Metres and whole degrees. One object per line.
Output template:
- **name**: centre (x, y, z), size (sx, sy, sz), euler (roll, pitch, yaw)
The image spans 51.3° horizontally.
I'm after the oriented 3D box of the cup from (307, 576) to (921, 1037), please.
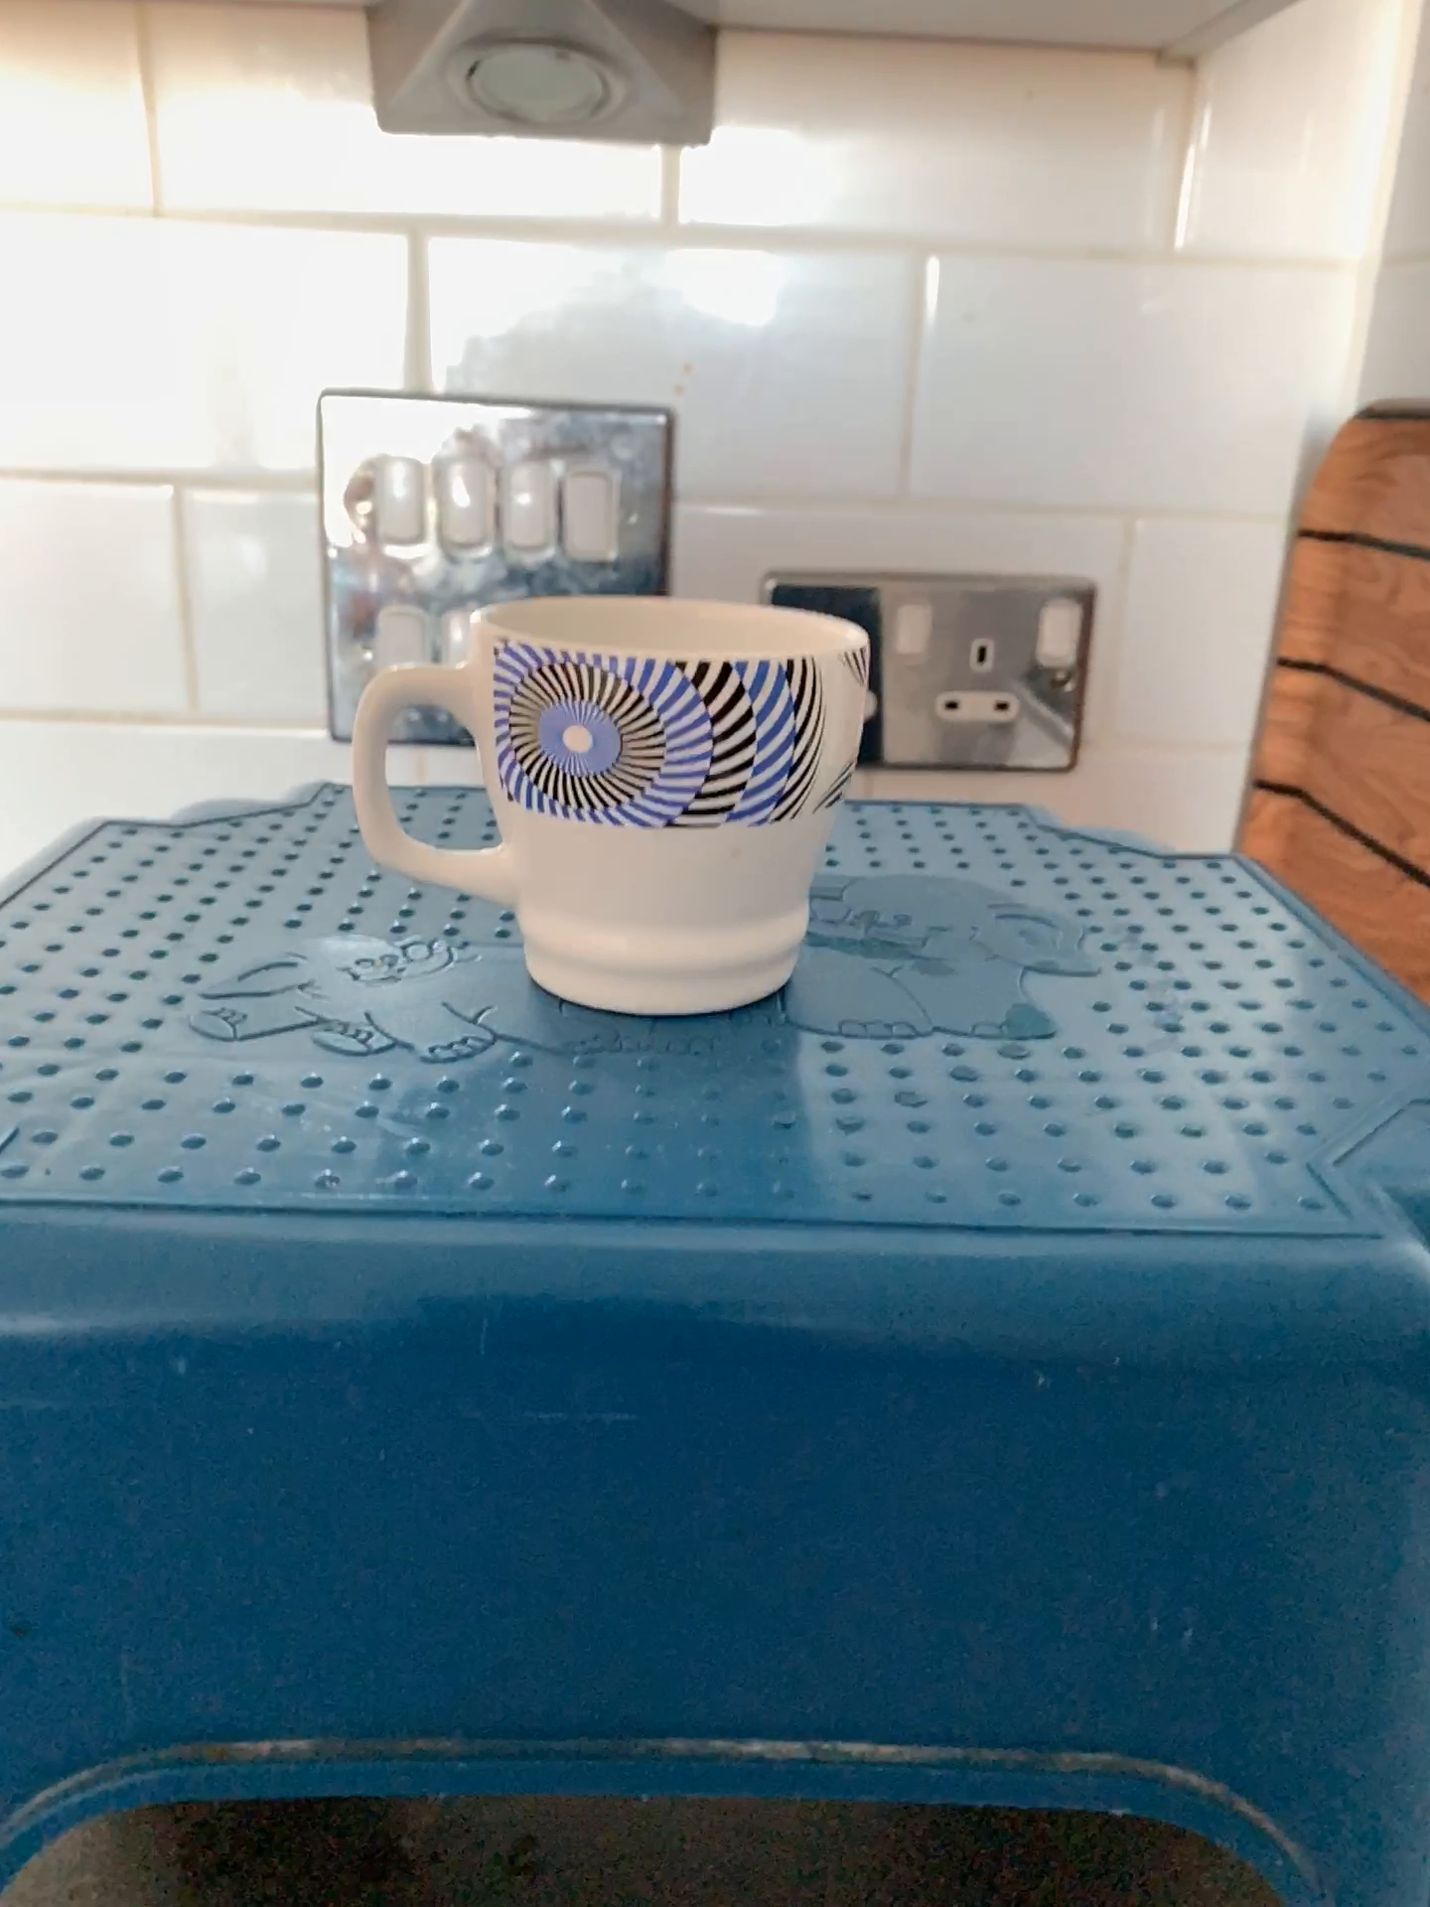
- **cup**: centre (-0.014, -0.029, 0.252), size (0.085, 0.055, 0.079), euler (2, 21, -1)
